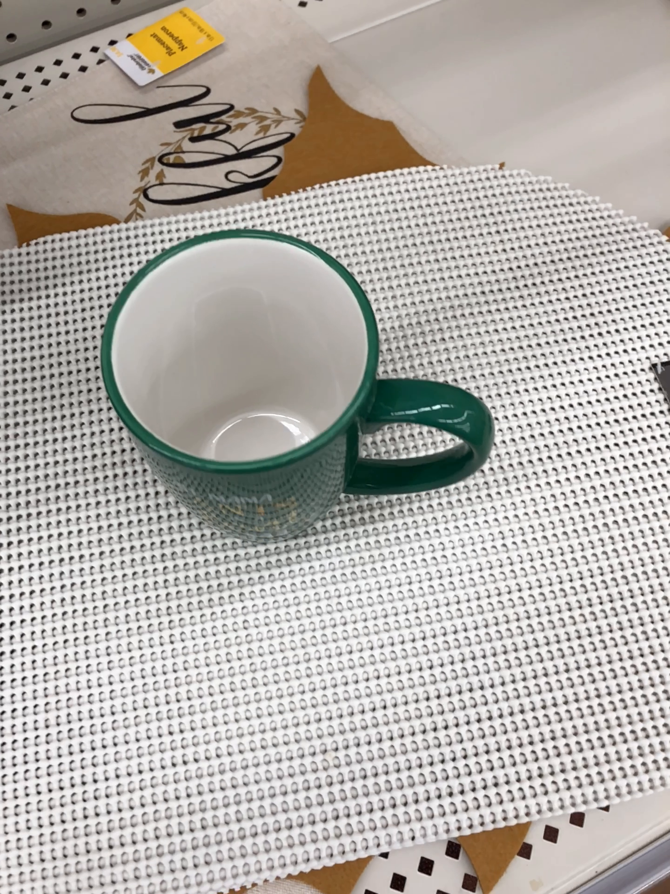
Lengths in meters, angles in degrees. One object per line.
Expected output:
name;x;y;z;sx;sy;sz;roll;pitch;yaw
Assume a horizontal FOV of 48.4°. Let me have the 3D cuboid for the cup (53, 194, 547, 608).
cup;-0.006;-0.011;0.288;0.140;0.110;0.100;10;68;5
